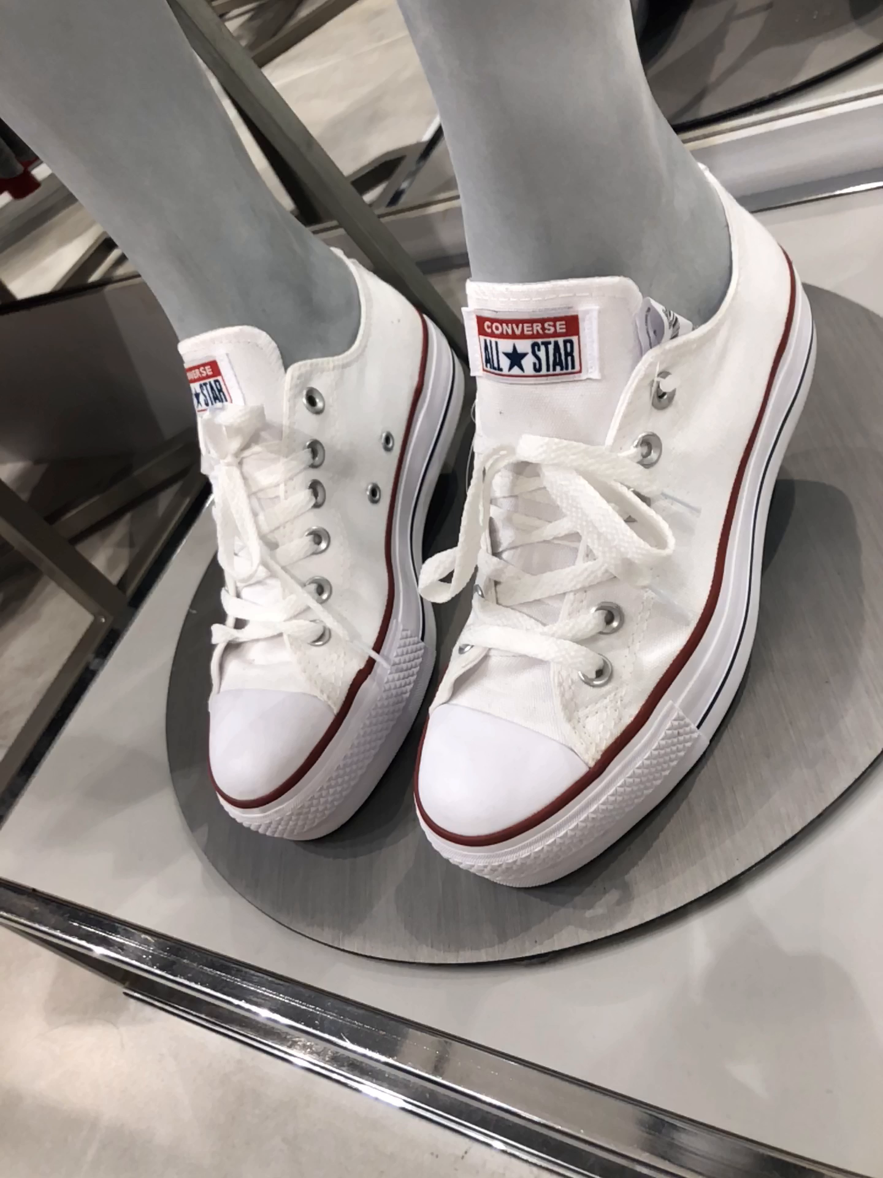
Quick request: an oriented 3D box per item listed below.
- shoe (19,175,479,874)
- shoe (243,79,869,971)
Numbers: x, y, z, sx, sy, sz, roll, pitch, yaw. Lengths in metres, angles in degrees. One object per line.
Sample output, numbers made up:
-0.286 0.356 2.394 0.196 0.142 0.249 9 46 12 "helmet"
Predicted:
-0.070 -0.029 0.422 0.100 0.089 0.271 -3 65 32 "shoe"
0.050 -0.028 0.354 0.110 0.089 0.280 11 73 40 "shoe"
